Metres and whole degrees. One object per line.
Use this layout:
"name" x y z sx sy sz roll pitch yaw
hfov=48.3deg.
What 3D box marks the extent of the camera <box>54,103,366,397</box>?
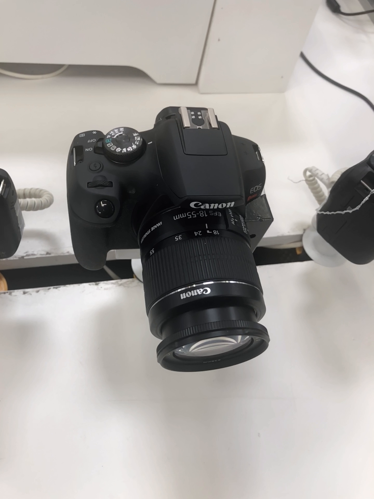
"camera" -0.001 -0.002 0.248 0.130 0.092 0.132 -7 61 -14
